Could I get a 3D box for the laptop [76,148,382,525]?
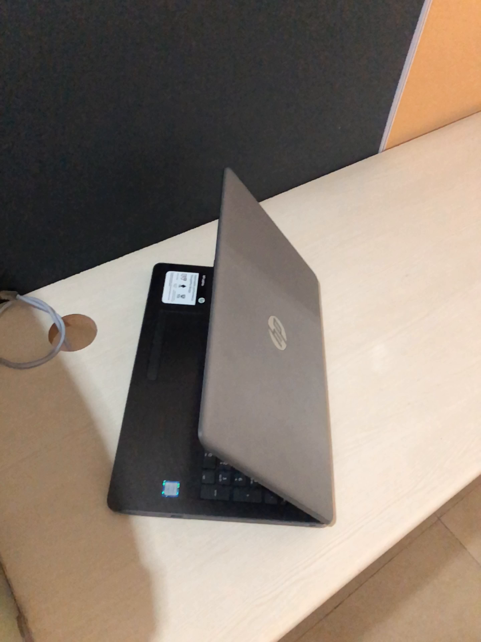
[{"bbox_3d":[-0.007,0.011,0.612,0.246,0.204,0.363,5,53,-3],"label":"laptop"}]
